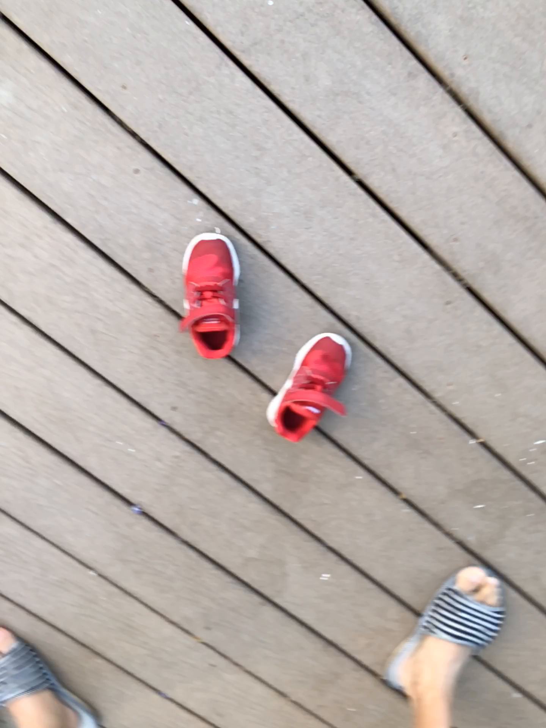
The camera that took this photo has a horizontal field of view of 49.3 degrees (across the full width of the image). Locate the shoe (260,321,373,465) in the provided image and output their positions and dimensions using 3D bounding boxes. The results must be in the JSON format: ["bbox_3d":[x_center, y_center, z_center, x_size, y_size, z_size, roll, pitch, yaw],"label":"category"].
[{"bbox_3d":[0.053,0.038,0.791,0.069,0.069,0.164,27,108,-11],"label":"shoe"}]

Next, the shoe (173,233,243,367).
[{"bbox_3d":[-0.078,-0.080,0.744,0.073,0.069,0.153,-1,111,-1],"label":"shoe"}]
